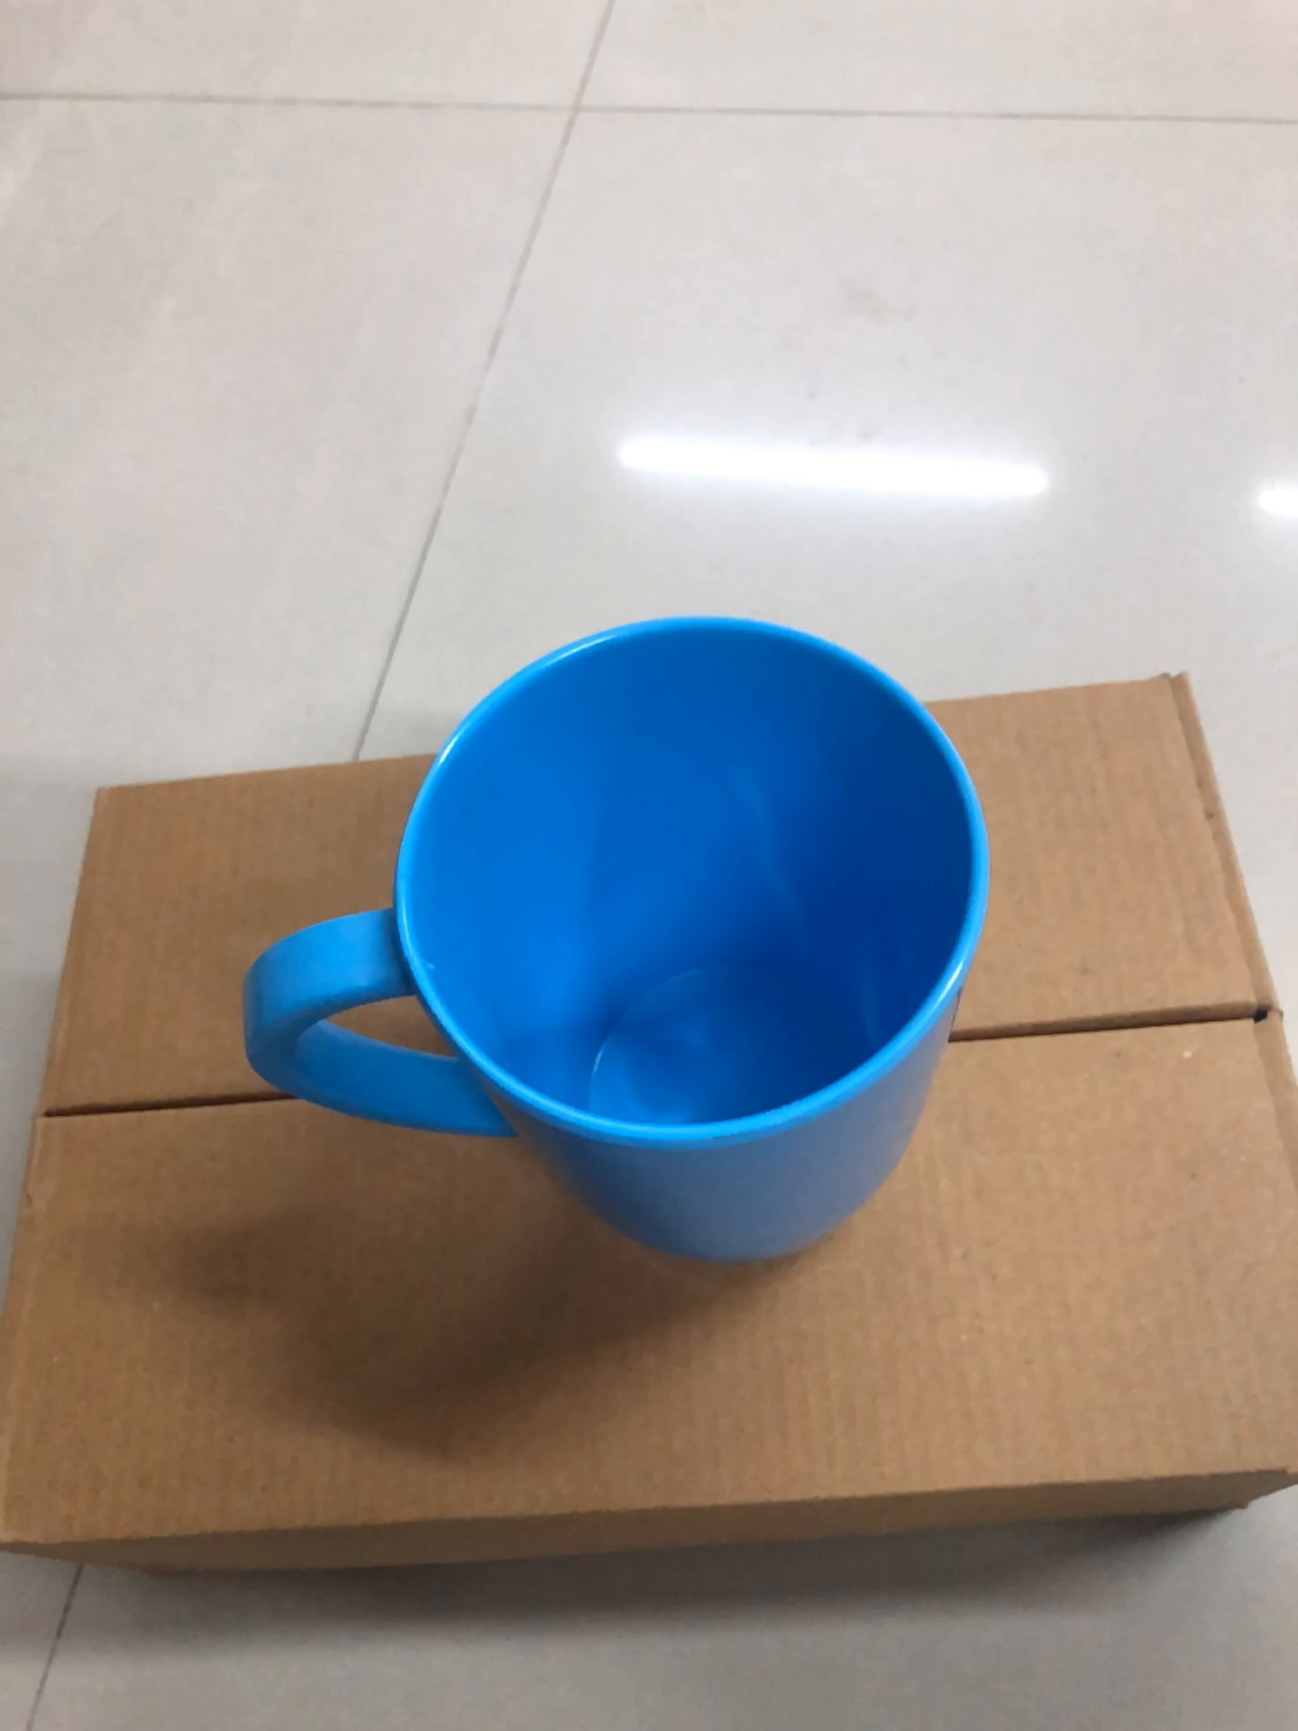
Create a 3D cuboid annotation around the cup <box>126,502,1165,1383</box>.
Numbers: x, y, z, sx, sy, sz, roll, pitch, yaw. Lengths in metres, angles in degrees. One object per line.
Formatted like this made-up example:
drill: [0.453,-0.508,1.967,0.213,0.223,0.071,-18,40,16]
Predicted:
cup: [-0.003,0.018,0.225,0.120,0.090,0.080,-13,60,0]
